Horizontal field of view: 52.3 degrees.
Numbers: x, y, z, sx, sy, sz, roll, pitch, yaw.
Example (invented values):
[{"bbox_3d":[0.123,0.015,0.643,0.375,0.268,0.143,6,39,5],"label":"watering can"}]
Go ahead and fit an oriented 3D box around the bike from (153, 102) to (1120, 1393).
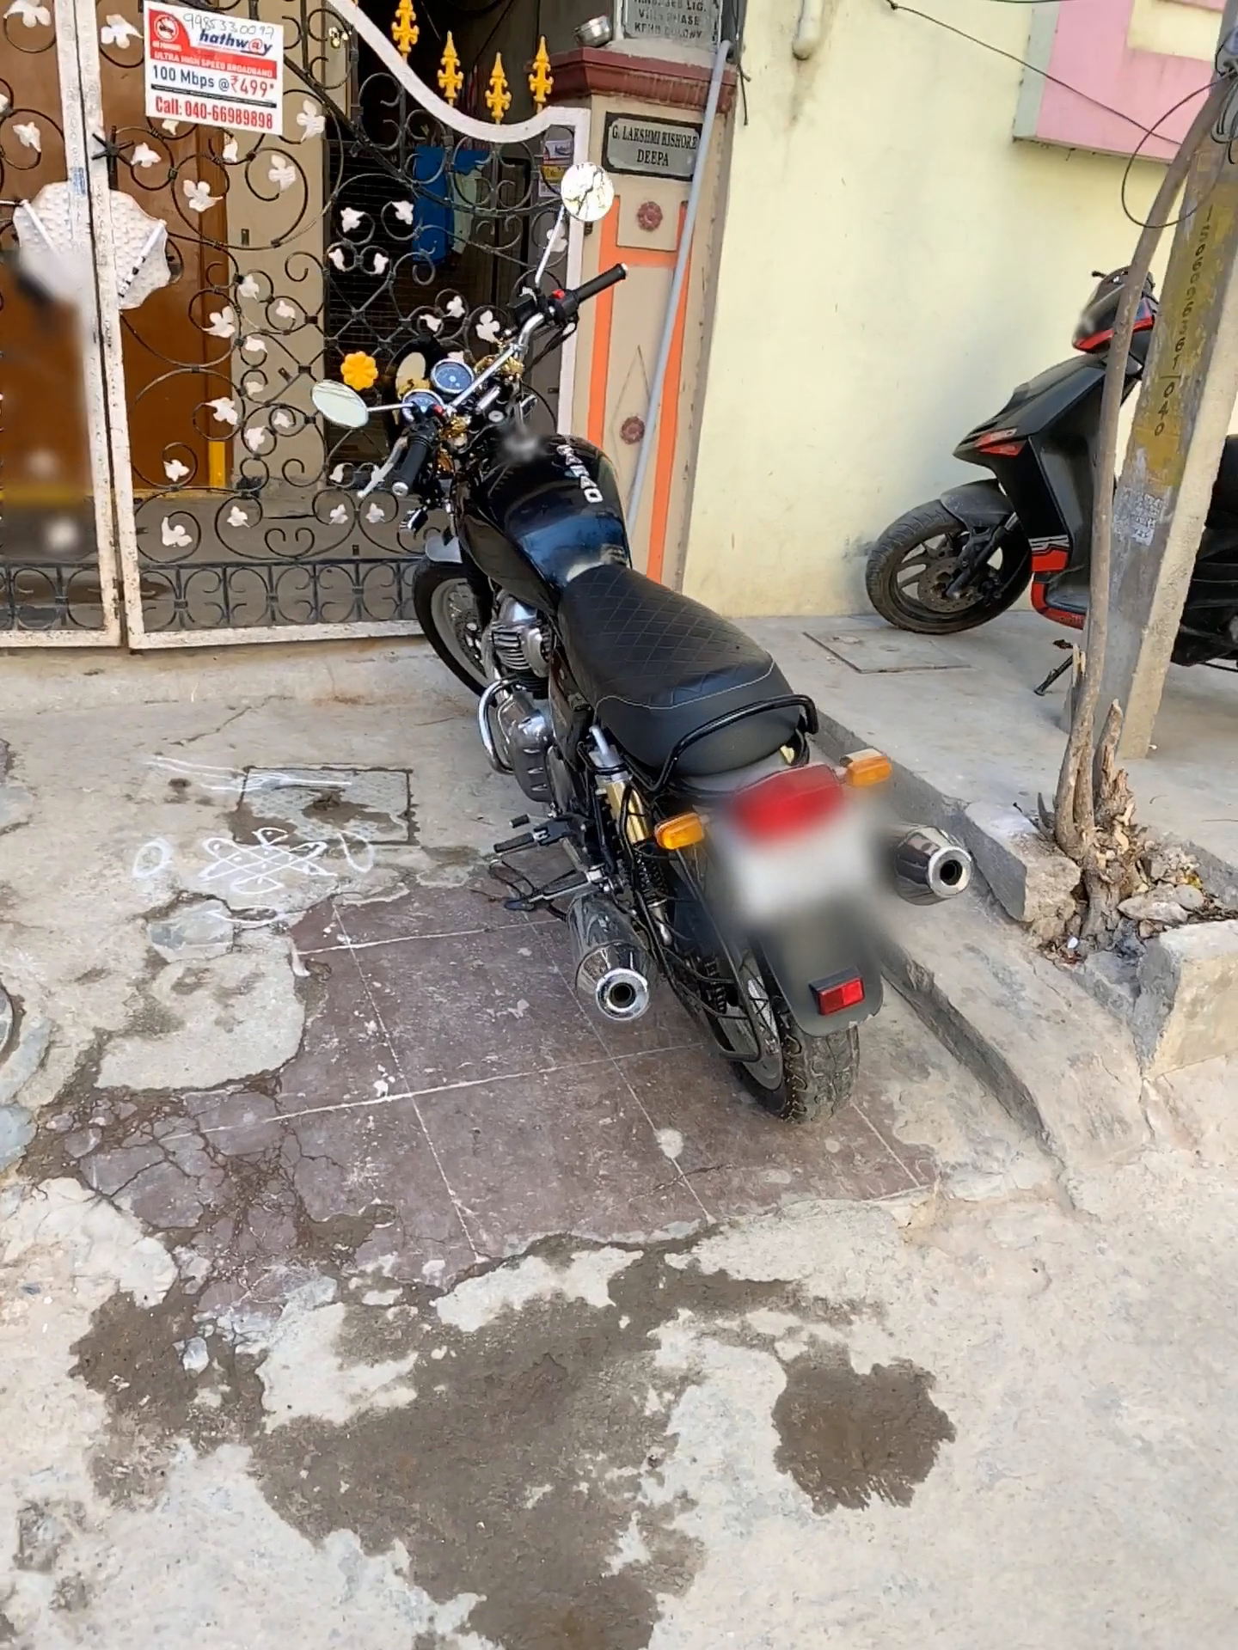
[{"bbox_3d":[-0.239,-0.378,2.420,0.792,1.522,1.911,-8,32,-27],"label":"bike"}]
